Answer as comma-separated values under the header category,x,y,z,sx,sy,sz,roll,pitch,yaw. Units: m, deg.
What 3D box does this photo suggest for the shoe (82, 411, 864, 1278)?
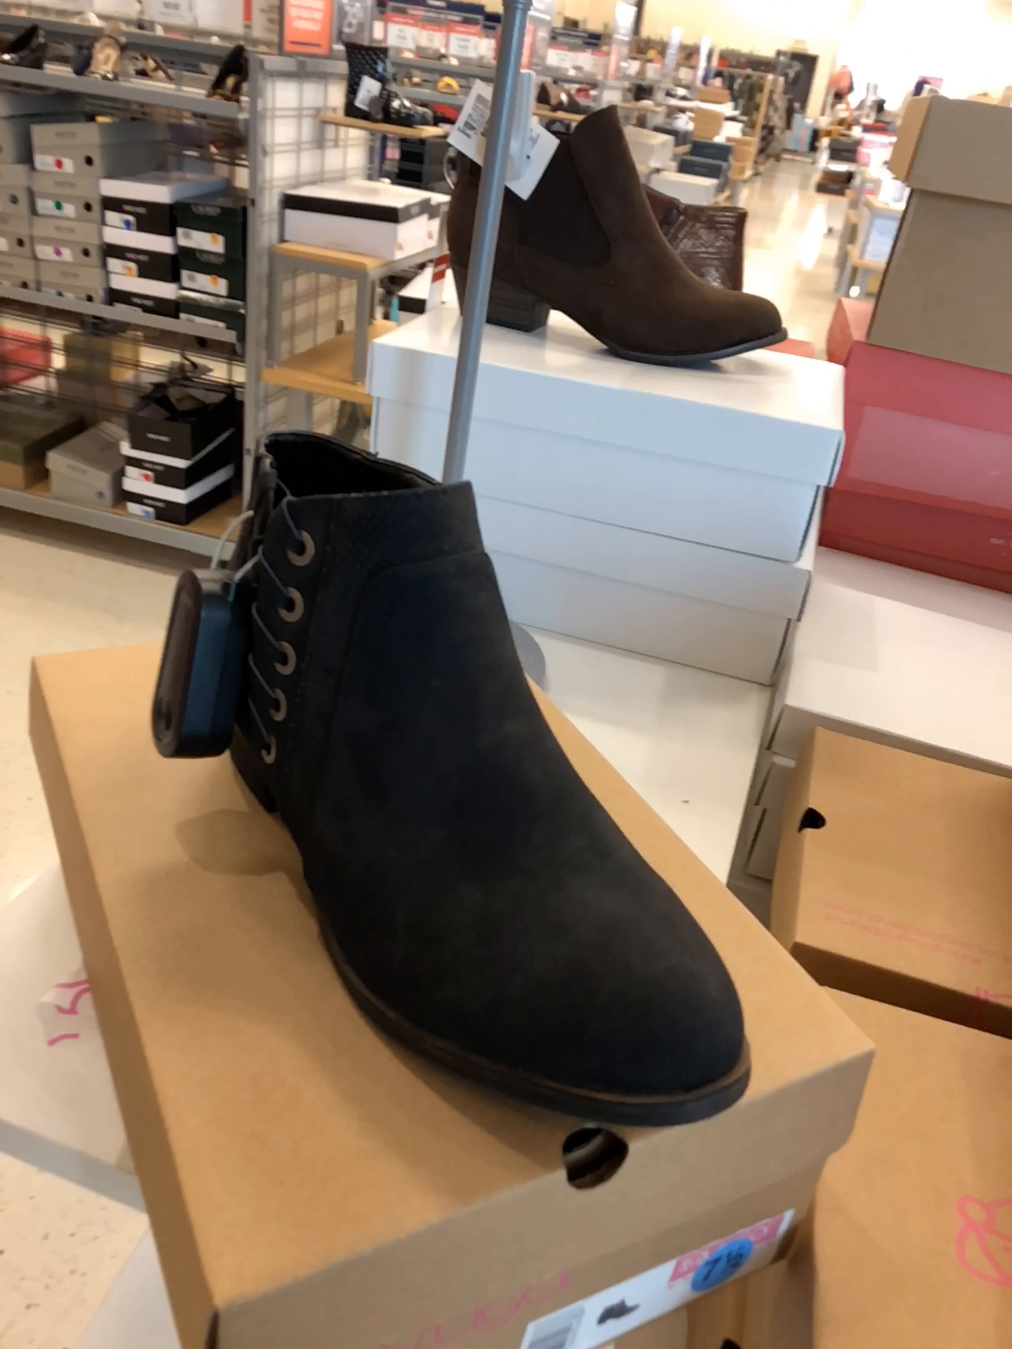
category,x,y,z,sx,sy,sz,roll,pitch,yaw
shoe,-0.039,0.019,0.348,0.100,0.119,0.261,-13,35,-33
